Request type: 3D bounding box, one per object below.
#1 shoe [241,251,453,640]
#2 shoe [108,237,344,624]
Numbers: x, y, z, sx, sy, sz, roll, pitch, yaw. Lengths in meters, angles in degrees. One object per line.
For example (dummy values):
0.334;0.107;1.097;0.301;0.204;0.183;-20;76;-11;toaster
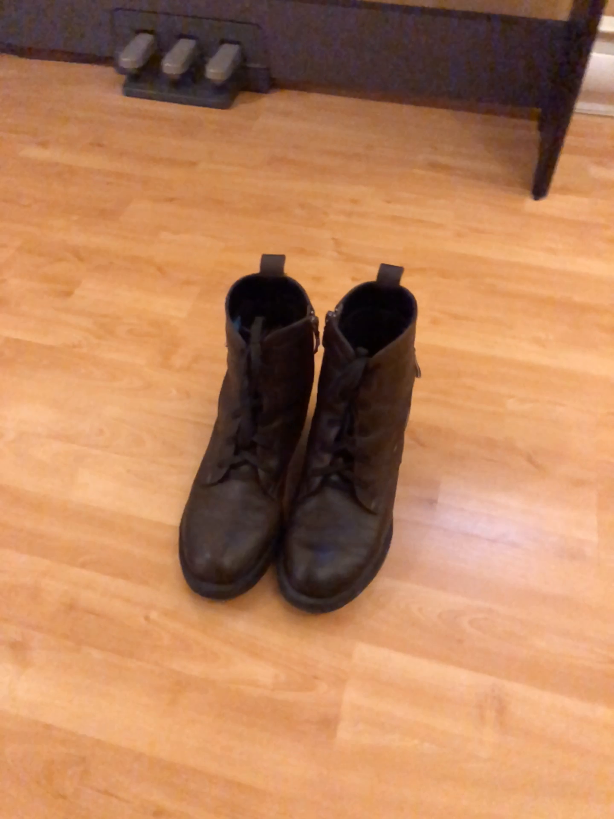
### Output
0.042;0.023;0.586;0.110;0.179;0.271;11;49;9;shoe
-0.049;0.010;0.585;0.110;0.179;0.271;9;49;7;shoe
